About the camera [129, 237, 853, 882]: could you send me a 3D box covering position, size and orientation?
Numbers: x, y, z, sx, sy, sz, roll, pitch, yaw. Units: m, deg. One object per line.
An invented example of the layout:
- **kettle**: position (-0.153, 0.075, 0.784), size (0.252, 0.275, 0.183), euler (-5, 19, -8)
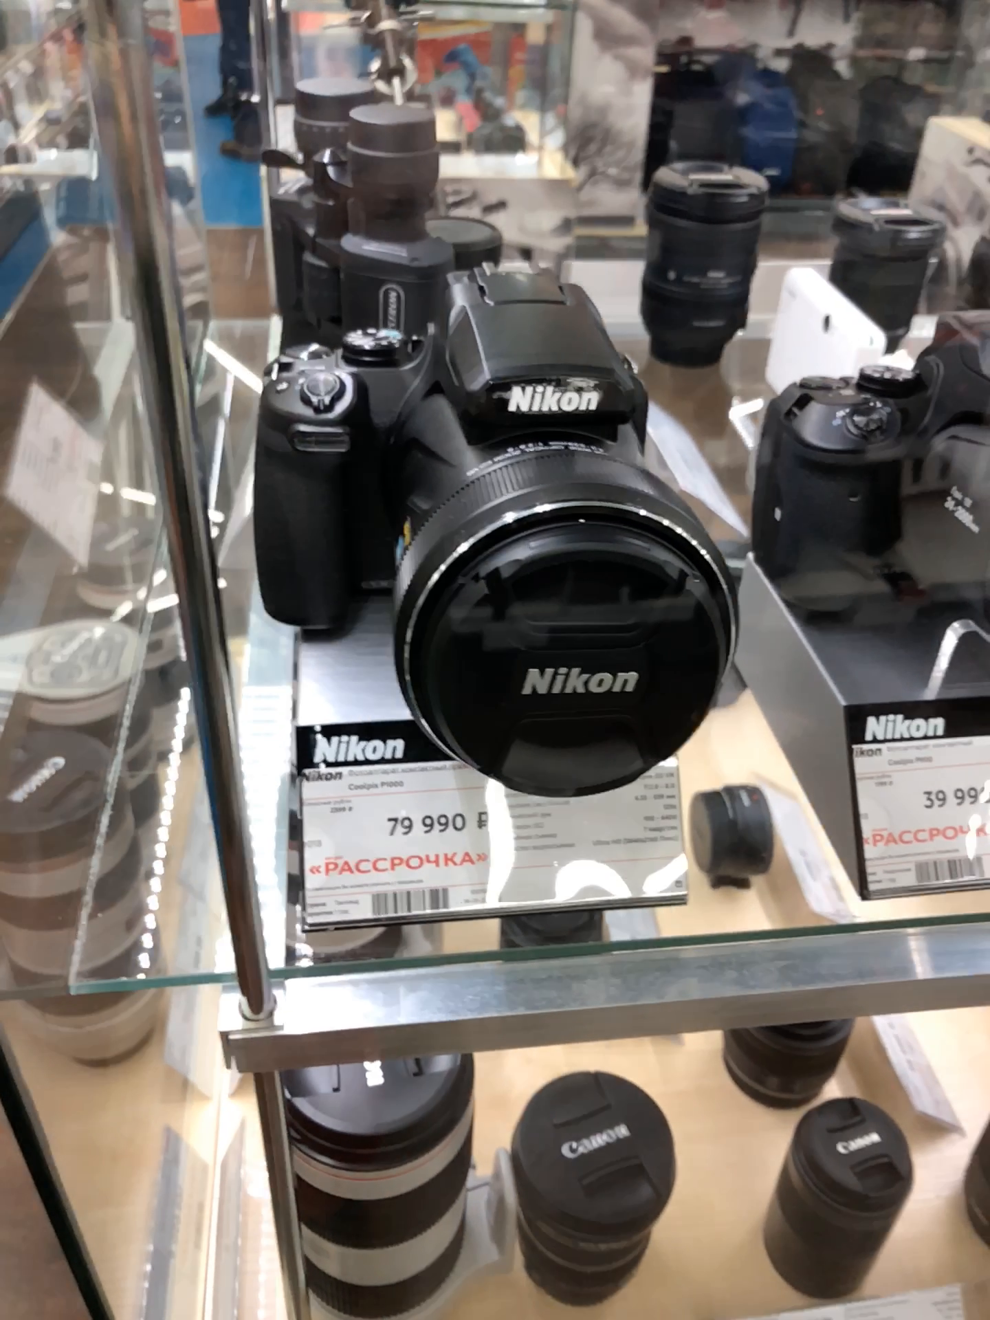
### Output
- **camera**: position (-0.011, -0.048, 0.355), size (0.160, 0.113, 0.201), euler (-2, 37, -7)
